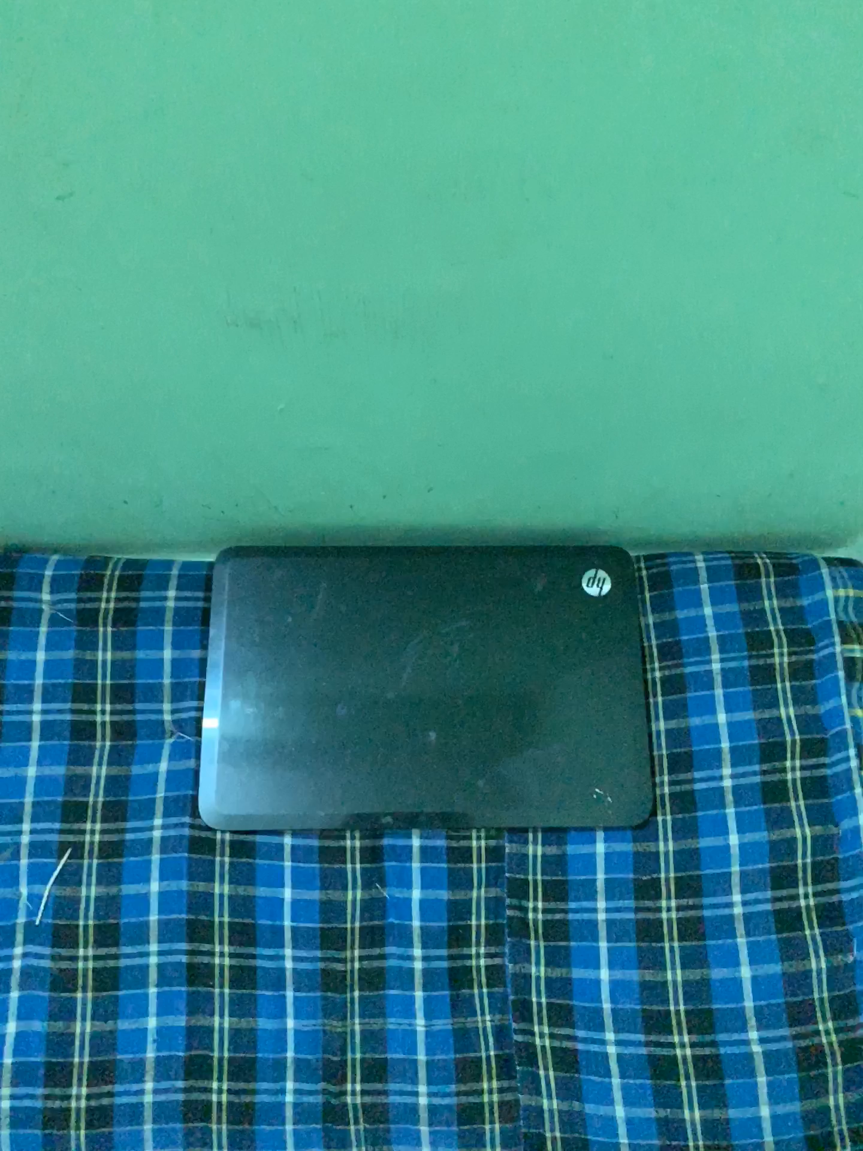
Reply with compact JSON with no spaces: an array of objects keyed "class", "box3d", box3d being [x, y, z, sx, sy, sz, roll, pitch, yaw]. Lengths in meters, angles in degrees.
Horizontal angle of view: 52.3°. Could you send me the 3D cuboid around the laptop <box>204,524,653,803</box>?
[{"class":"laptop","box3d":[-0.003,0.067,0.715,0.346,0.018,0.217,-1,74,-2]}]
